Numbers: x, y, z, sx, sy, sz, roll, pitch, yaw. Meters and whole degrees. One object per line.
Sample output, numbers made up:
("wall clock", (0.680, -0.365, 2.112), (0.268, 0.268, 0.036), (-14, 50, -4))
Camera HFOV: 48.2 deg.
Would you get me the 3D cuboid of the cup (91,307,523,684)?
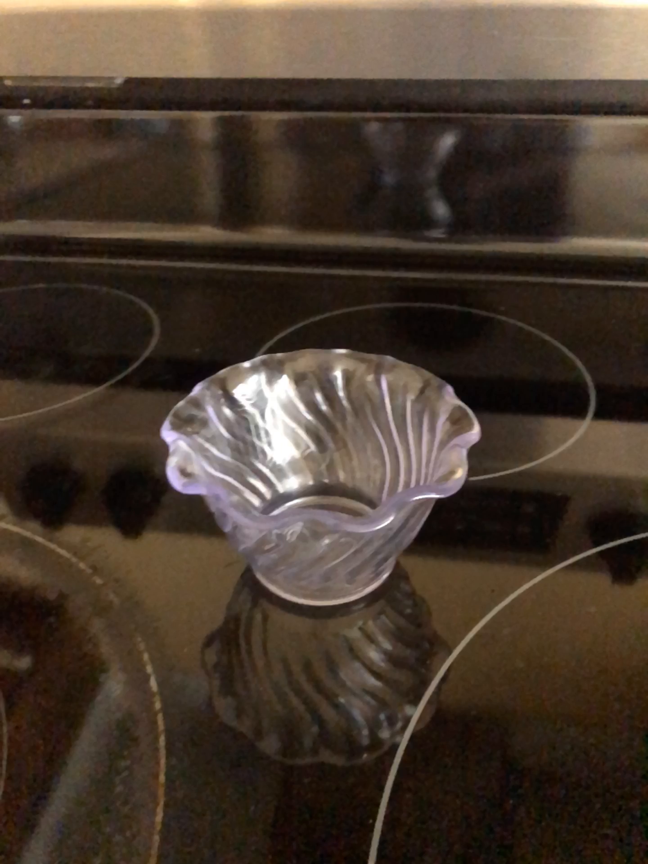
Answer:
("cup", (-0.003, 0.010, 0.227), (0.091, 0.049, 0.091), (-1, 34, 1))
